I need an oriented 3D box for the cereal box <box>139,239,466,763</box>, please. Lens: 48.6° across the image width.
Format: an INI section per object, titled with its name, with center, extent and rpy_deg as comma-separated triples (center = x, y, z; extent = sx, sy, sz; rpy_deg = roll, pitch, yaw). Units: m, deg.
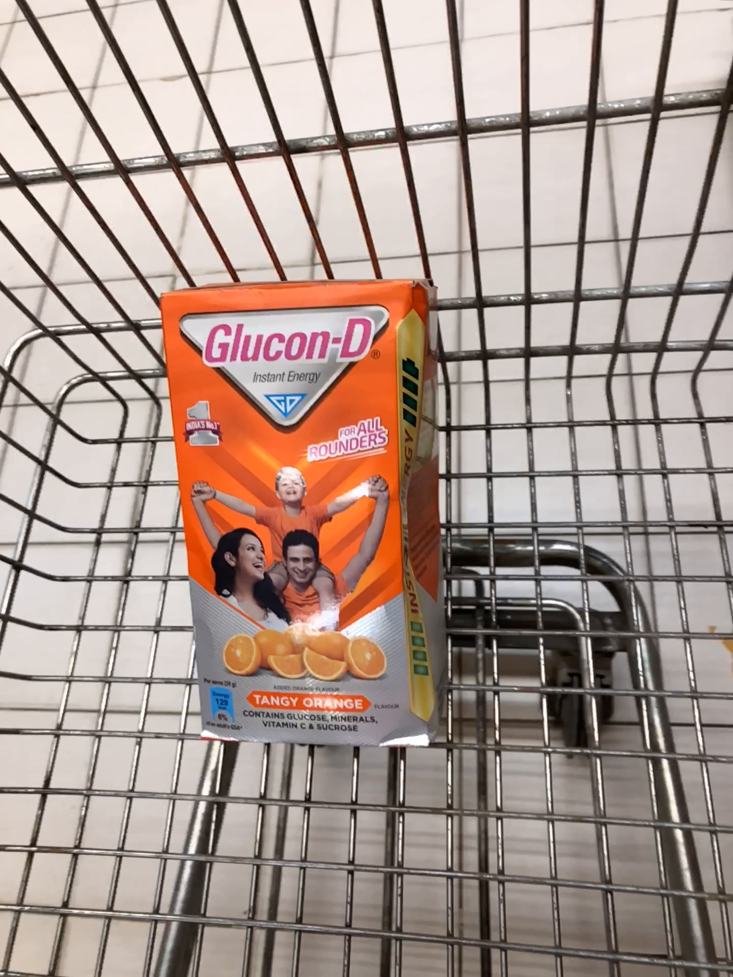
[cereal box]
center = -0.020, 0.003, 0.382
extent = 0.120, 0.100, 0.210
rpy_deg = -1, 97, 12
